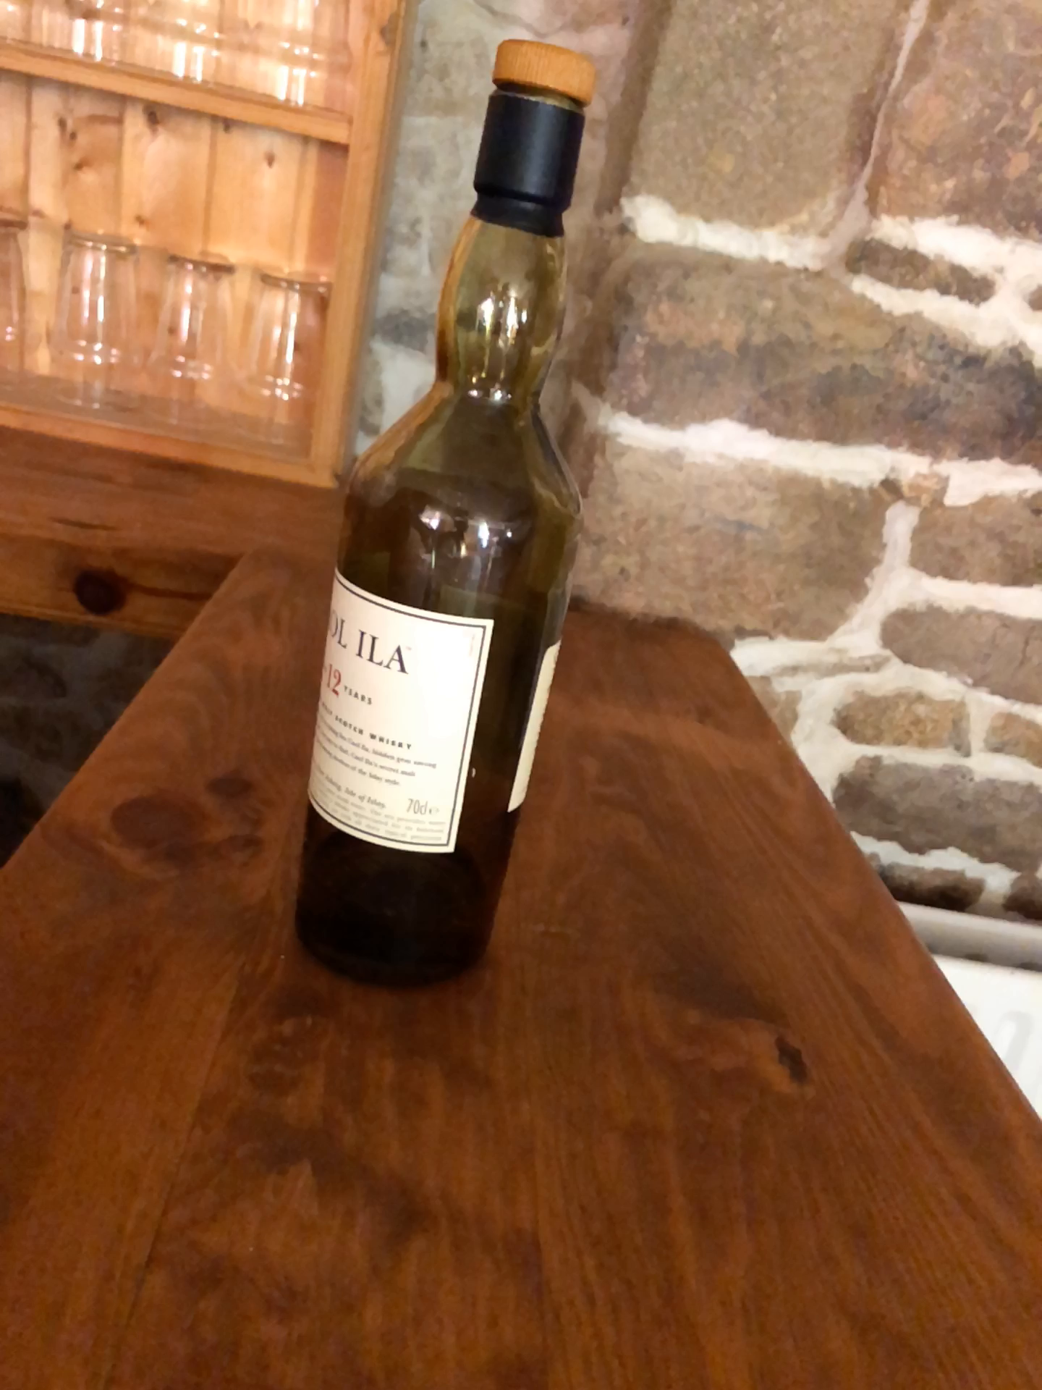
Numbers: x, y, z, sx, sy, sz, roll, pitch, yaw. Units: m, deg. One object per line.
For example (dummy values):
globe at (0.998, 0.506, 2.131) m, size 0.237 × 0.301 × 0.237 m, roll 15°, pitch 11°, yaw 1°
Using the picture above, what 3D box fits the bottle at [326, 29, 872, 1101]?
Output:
bottle at (0.012, -0.030, 0.358) m, size 0.070 × 0.299 × 0.080 m, roll -3°, pitch 24°, yaw -39°
